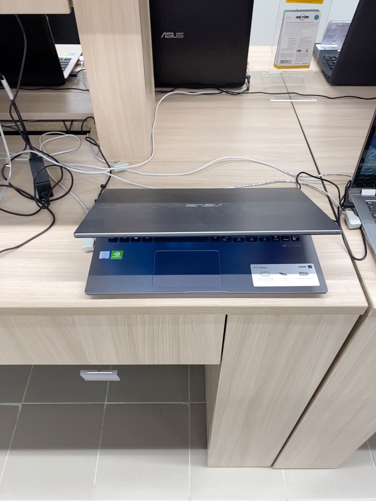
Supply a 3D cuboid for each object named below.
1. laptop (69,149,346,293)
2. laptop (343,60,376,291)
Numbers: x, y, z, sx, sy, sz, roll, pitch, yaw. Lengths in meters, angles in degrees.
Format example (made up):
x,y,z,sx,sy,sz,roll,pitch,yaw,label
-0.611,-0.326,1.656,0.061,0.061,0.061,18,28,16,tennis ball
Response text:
x,y,z,sx,sy,sz,roll,pitch,yaw,label
0.026,-0.055,0.605,0.354,0.097,0.230,0,46,0,laptop
0.479,-0.116,0.576,0.351,0.222,0.260,-1,47,-1,laptop
